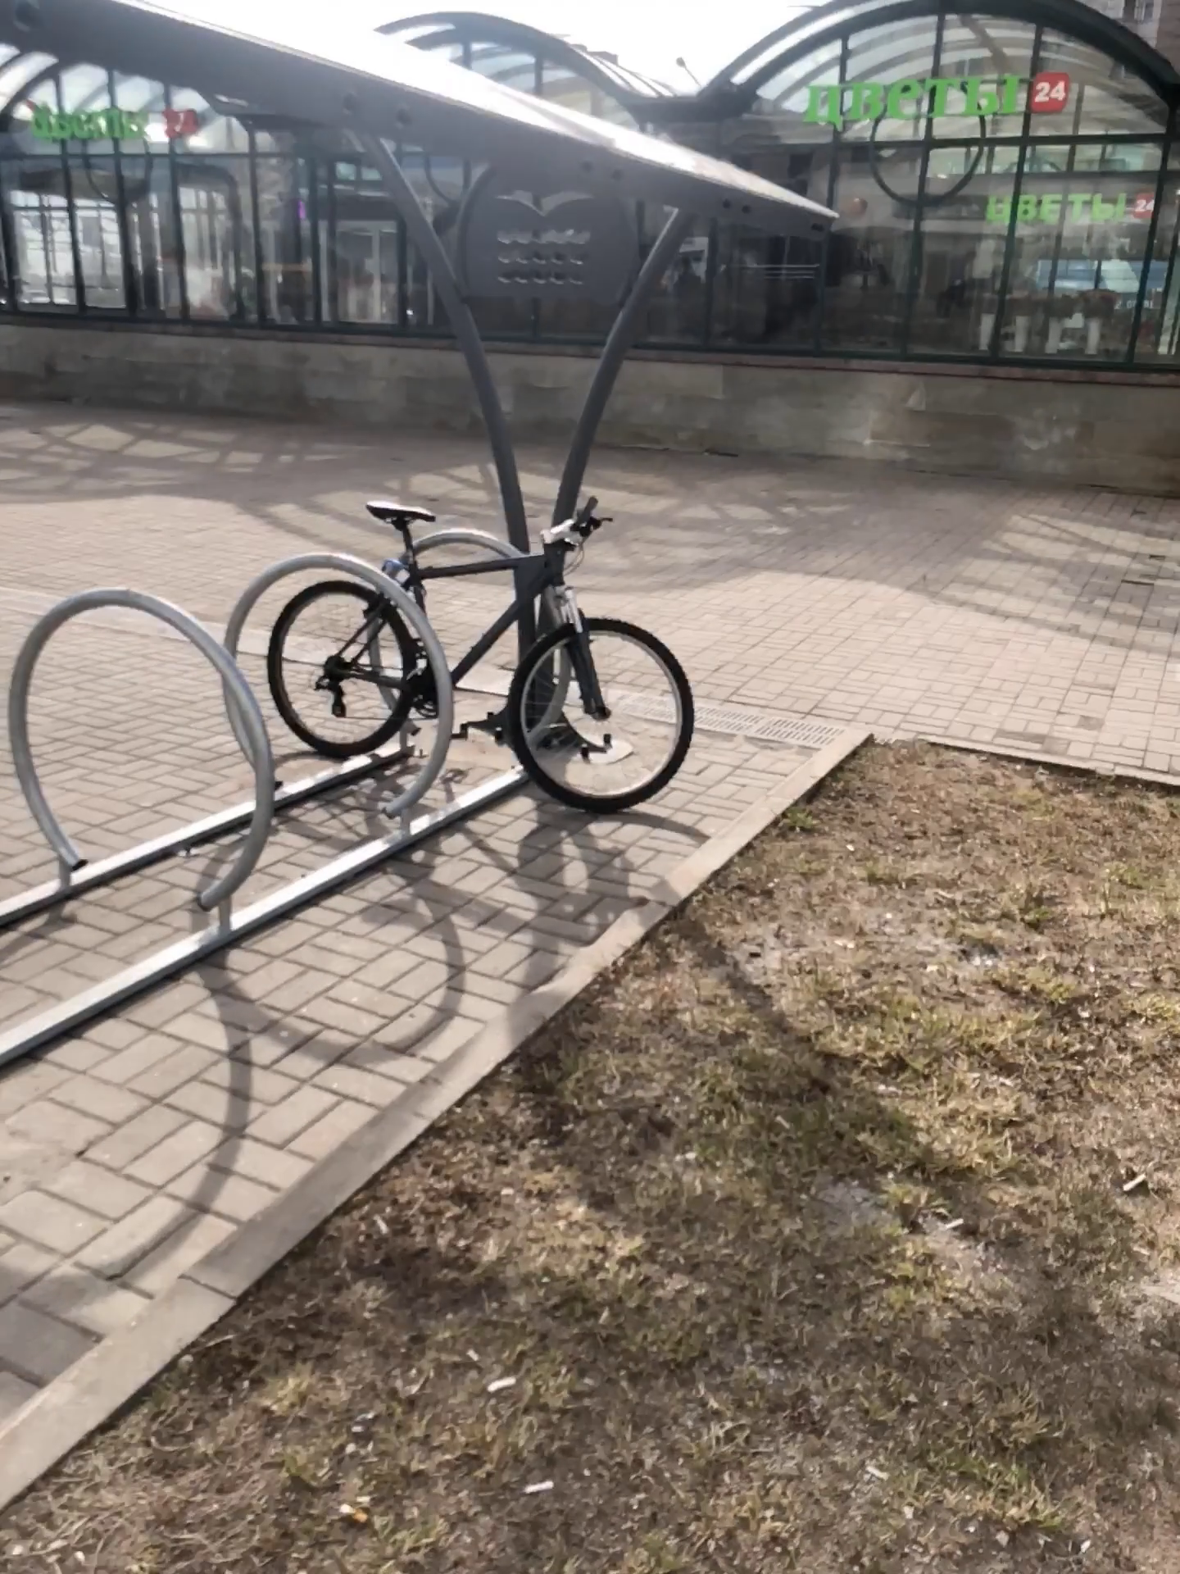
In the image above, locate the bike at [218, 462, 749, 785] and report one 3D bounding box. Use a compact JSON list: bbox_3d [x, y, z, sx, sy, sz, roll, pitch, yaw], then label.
[{"bbox_3d":[-0.375,-0.620,4.557,1.610,0.980,0.564,6,20,15],"label":"bike"}]
